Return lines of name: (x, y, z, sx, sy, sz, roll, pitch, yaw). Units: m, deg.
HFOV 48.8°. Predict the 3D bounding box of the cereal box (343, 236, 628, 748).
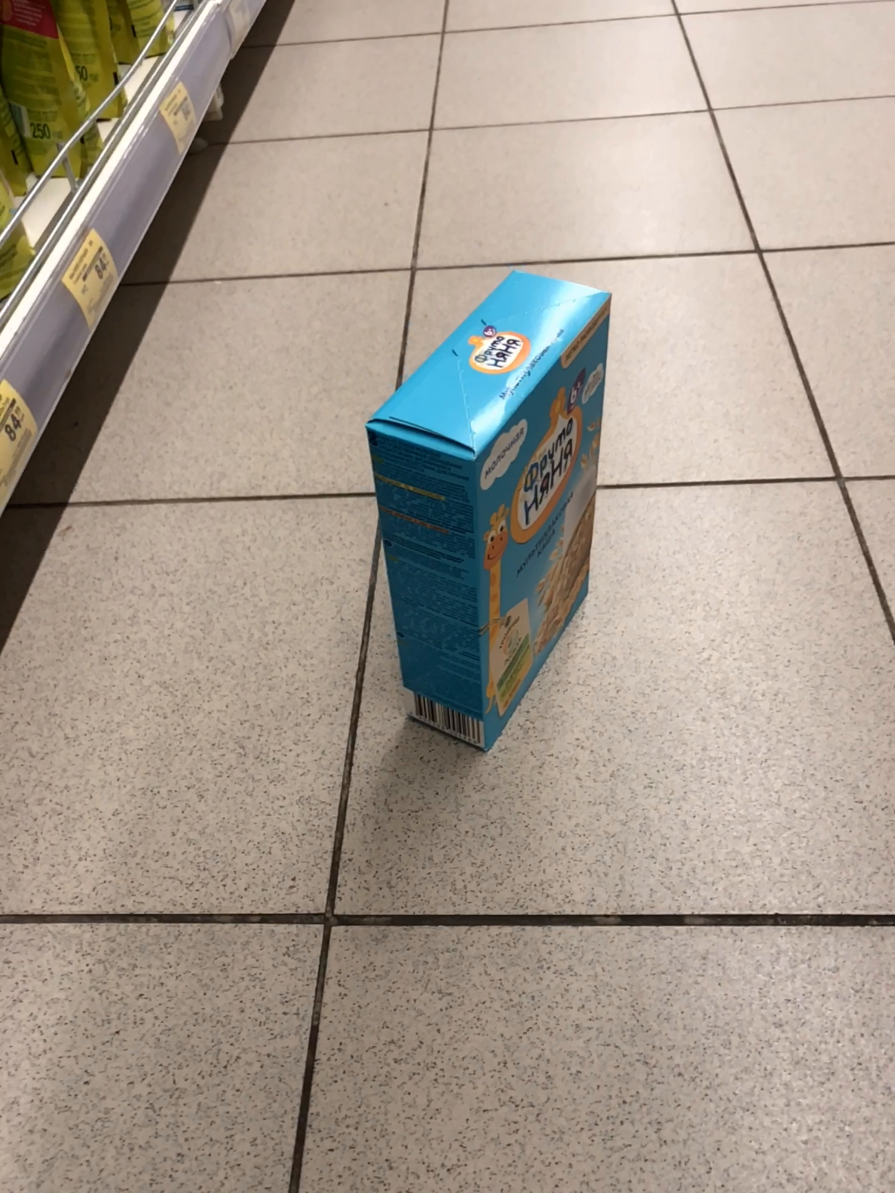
cereal box: (0.025, -0.045, 0.485, 0.060, 0.199, 0.141, 21, 53, 21)
